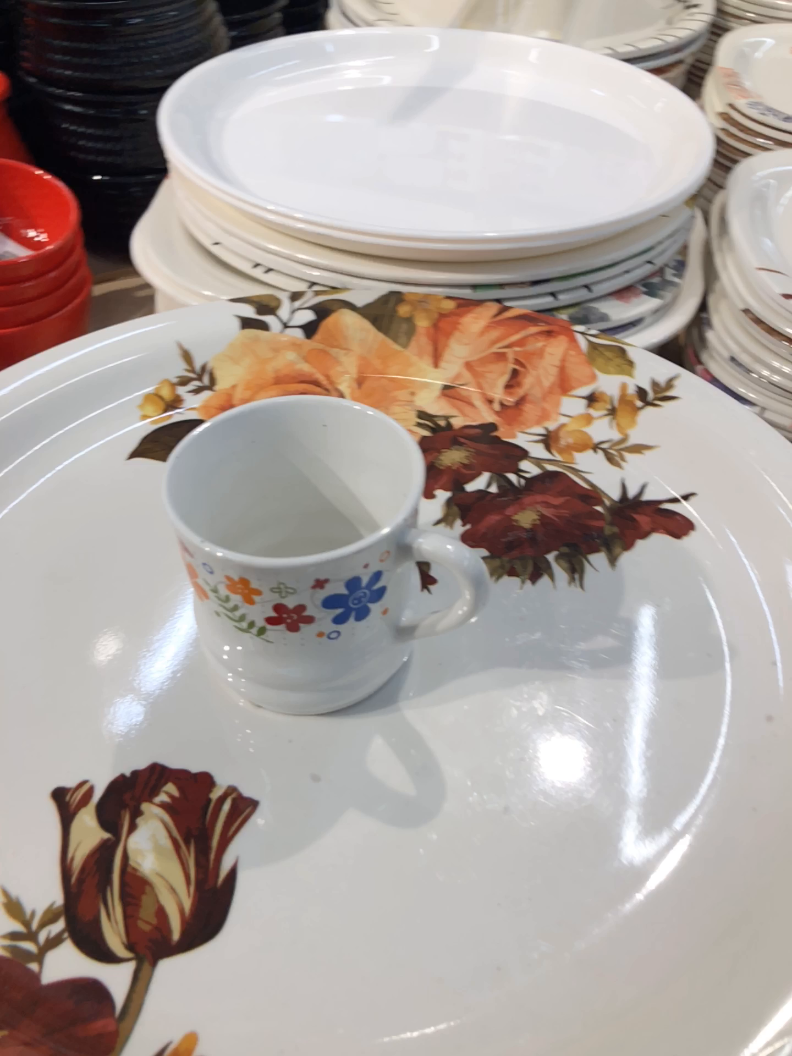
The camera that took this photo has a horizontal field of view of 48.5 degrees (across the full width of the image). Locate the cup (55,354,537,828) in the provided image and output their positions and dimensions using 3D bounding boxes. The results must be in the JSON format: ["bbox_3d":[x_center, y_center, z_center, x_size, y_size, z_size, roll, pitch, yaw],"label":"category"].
[{"bbox_3d":[-0.022,0.013,0.233,0.090,0.070,0.070,21,49,19],"label":"cup"}]
